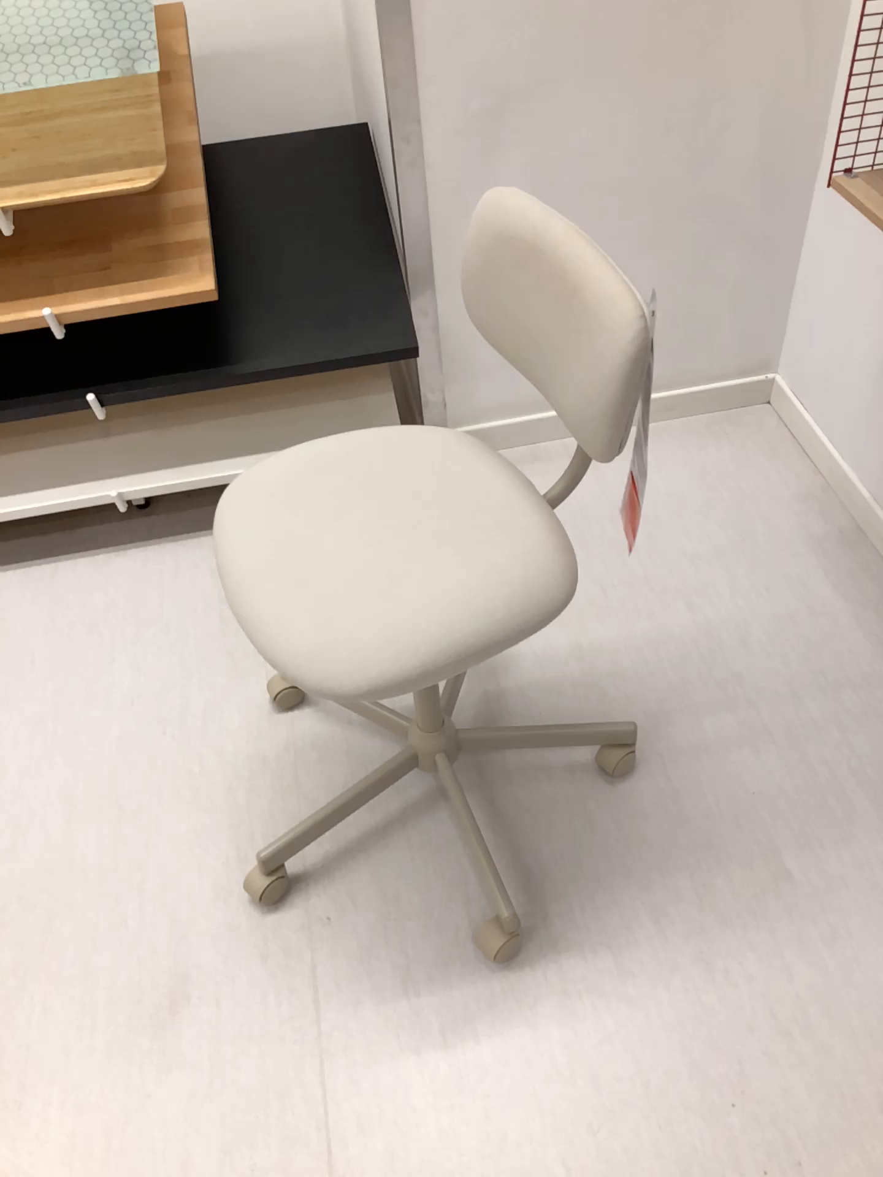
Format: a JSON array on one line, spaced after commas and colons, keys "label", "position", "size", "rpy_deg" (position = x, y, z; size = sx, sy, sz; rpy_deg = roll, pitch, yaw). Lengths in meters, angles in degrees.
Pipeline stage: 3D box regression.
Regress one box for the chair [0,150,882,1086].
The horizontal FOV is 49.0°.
[{"label": "chair", "position": [-0.038, 0.027, 1.215], "size": [0.690, 0.765, 0.644], "rpy_deg": [-20, 47, -13]}]
